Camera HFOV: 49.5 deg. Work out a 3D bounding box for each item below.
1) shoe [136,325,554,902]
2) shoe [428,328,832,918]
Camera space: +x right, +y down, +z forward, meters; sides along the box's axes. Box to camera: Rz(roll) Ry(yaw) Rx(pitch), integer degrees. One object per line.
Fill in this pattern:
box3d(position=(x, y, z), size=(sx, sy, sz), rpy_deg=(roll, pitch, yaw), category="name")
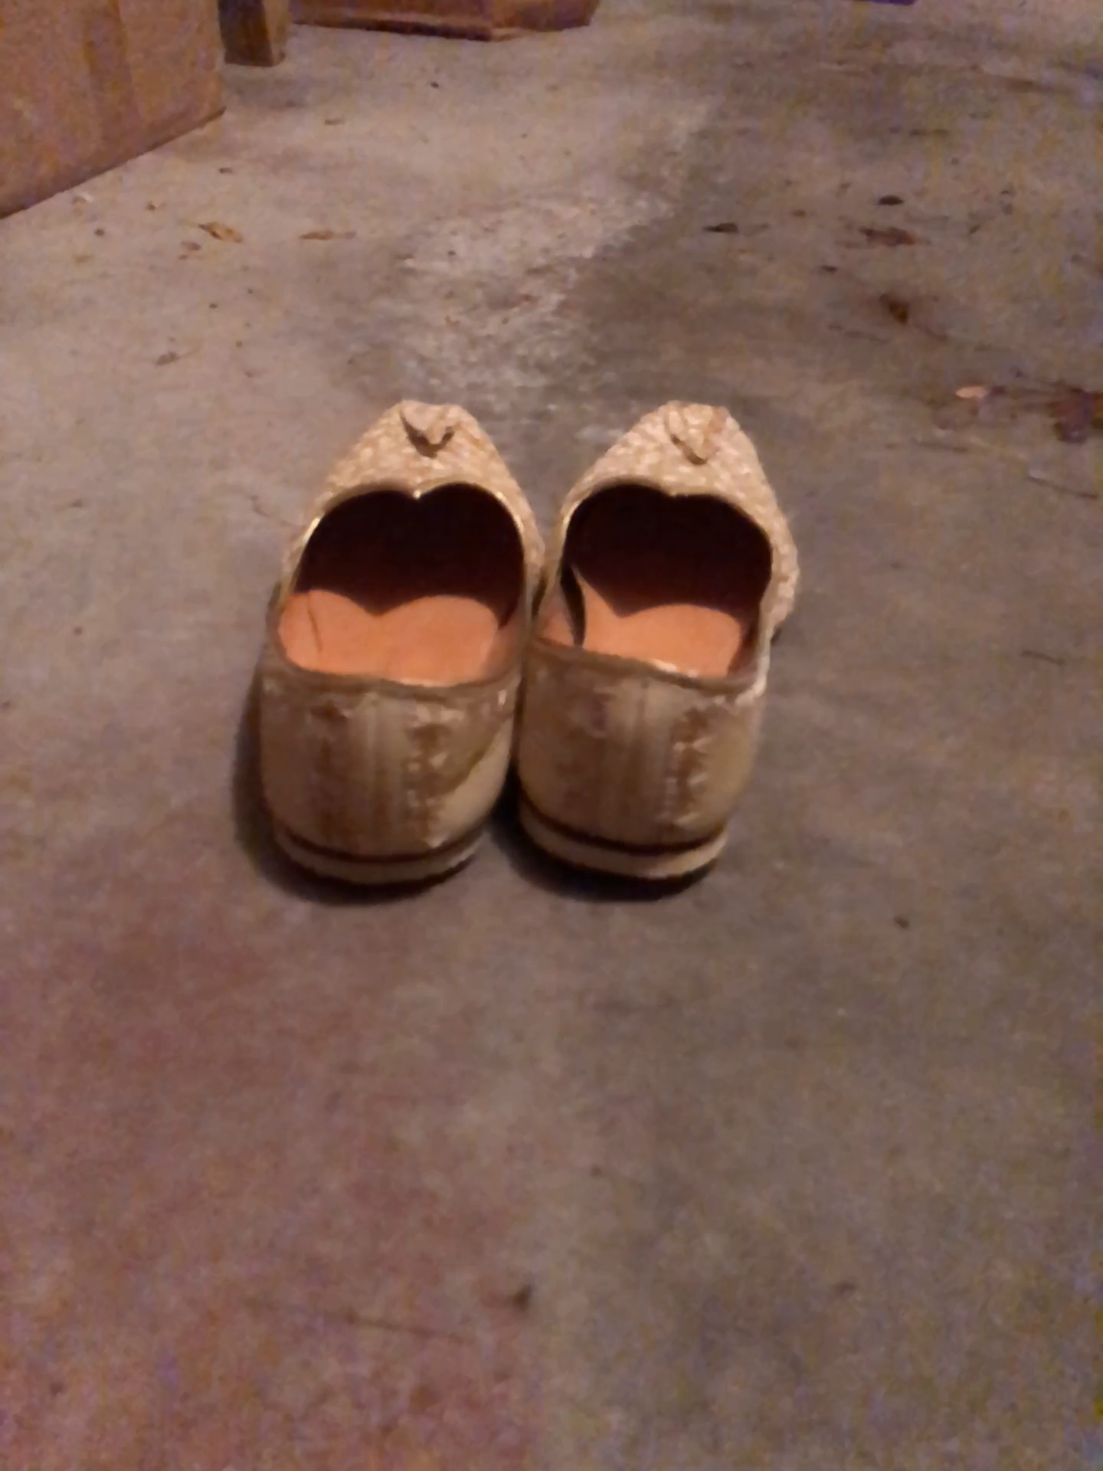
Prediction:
box3d(position=(-0.055, -0.065, 0.431), size=(0.104, 0.073, 0.276), rpy_deg=(2, 36, -2), category="shoe")
box3d(position=(0.041, -0.064, 0.435), size=(0.104, 0.073, 0.276), rpy_deg=(8, 37, 6), category="shoe")
